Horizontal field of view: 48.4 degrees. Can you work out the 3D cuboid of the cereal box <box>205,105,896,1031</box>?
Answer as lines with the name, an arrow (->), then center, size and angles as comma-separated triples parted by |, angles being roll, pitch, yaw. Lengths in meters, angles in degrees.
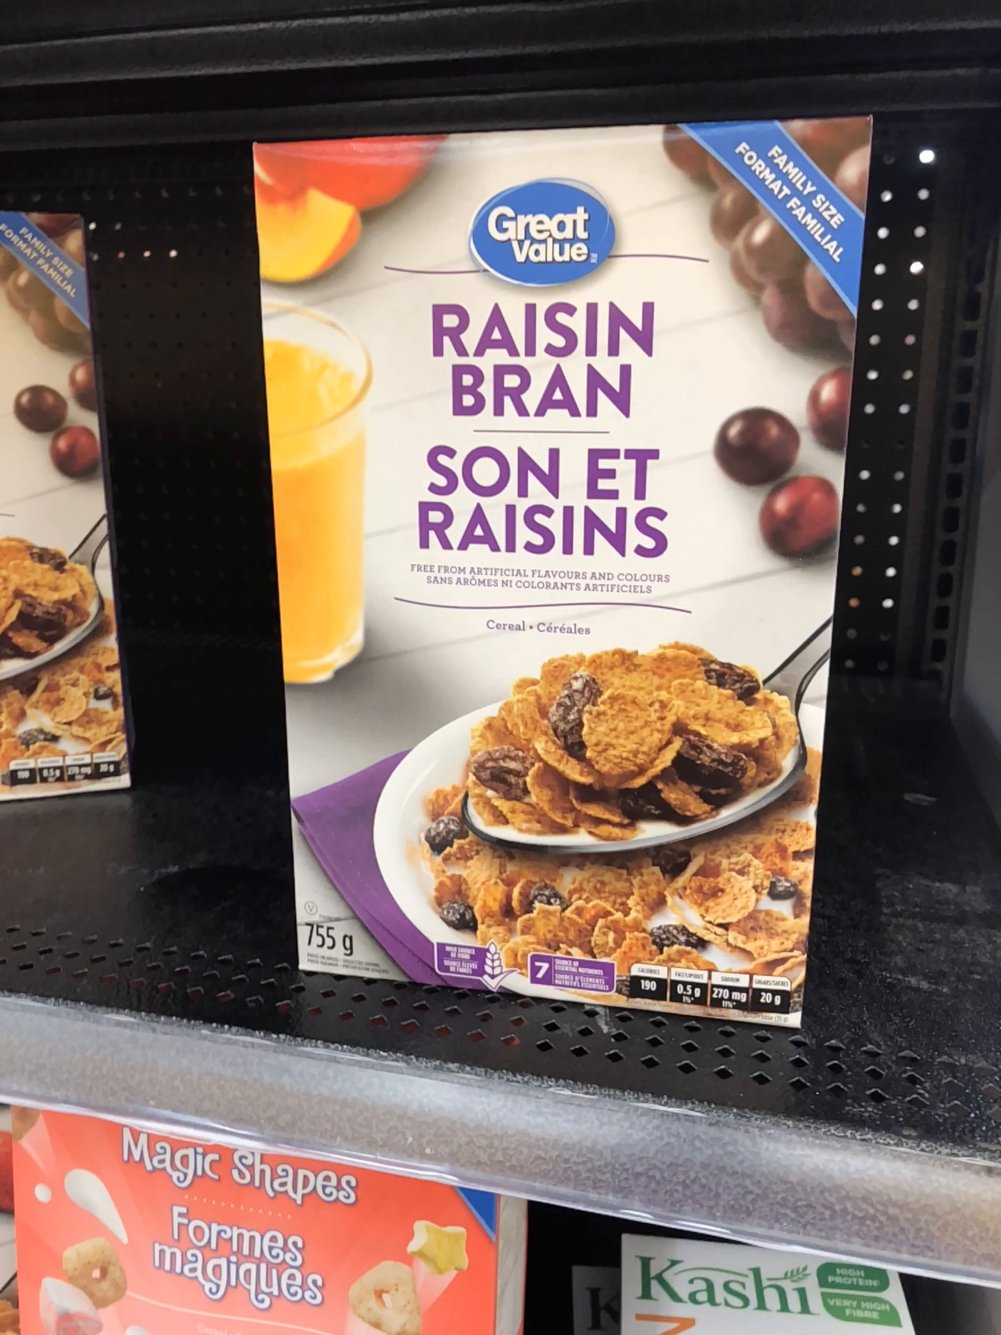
cereal box -> 0.015, -0.031, 0.408 | 0.210, 0.299, 0.070 | 3, 16, 11
